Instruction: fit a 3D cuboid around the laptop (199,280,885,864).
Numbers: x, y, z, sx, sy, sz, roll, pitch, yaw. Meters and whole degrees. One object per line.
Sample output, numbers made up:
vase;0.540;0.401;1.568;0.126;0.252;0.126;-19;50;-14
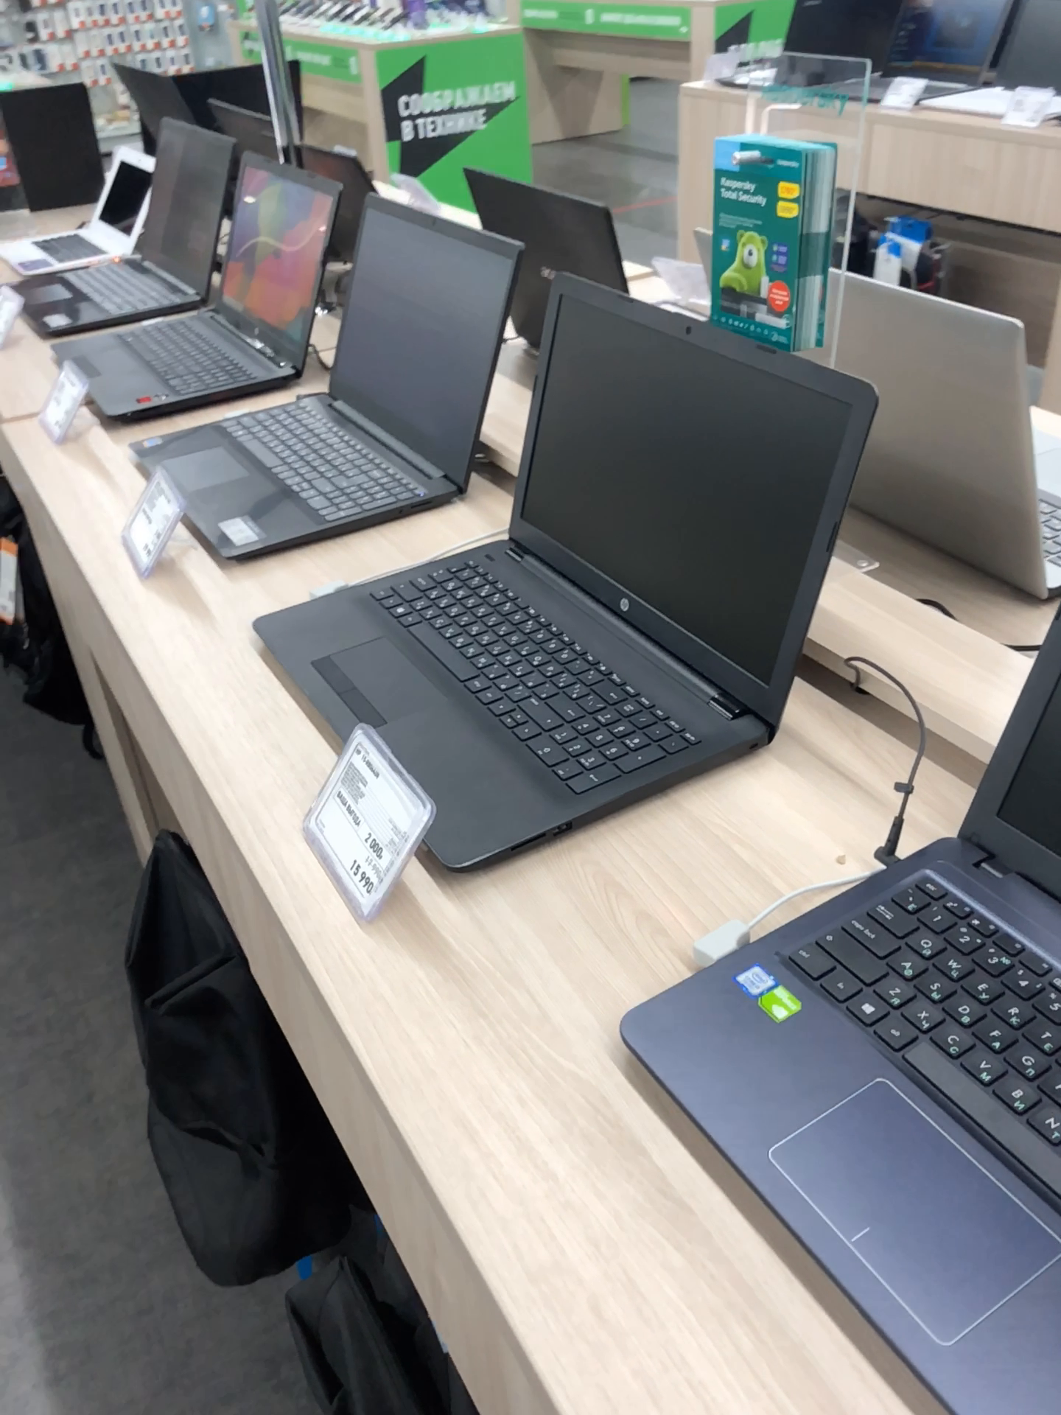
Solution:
laptop;-0.008;-0.131;0.830;0.312;0.216;0.368;-21;37;-23

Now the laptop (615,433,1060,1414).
laptop;0.273;0.094;0.452;0.334;0.209;0.370;-23;38;-23

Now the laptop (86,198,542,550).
laptop;-0.225;-0.363;1.206;0.327;0.213;0.333;-21;37;-22
